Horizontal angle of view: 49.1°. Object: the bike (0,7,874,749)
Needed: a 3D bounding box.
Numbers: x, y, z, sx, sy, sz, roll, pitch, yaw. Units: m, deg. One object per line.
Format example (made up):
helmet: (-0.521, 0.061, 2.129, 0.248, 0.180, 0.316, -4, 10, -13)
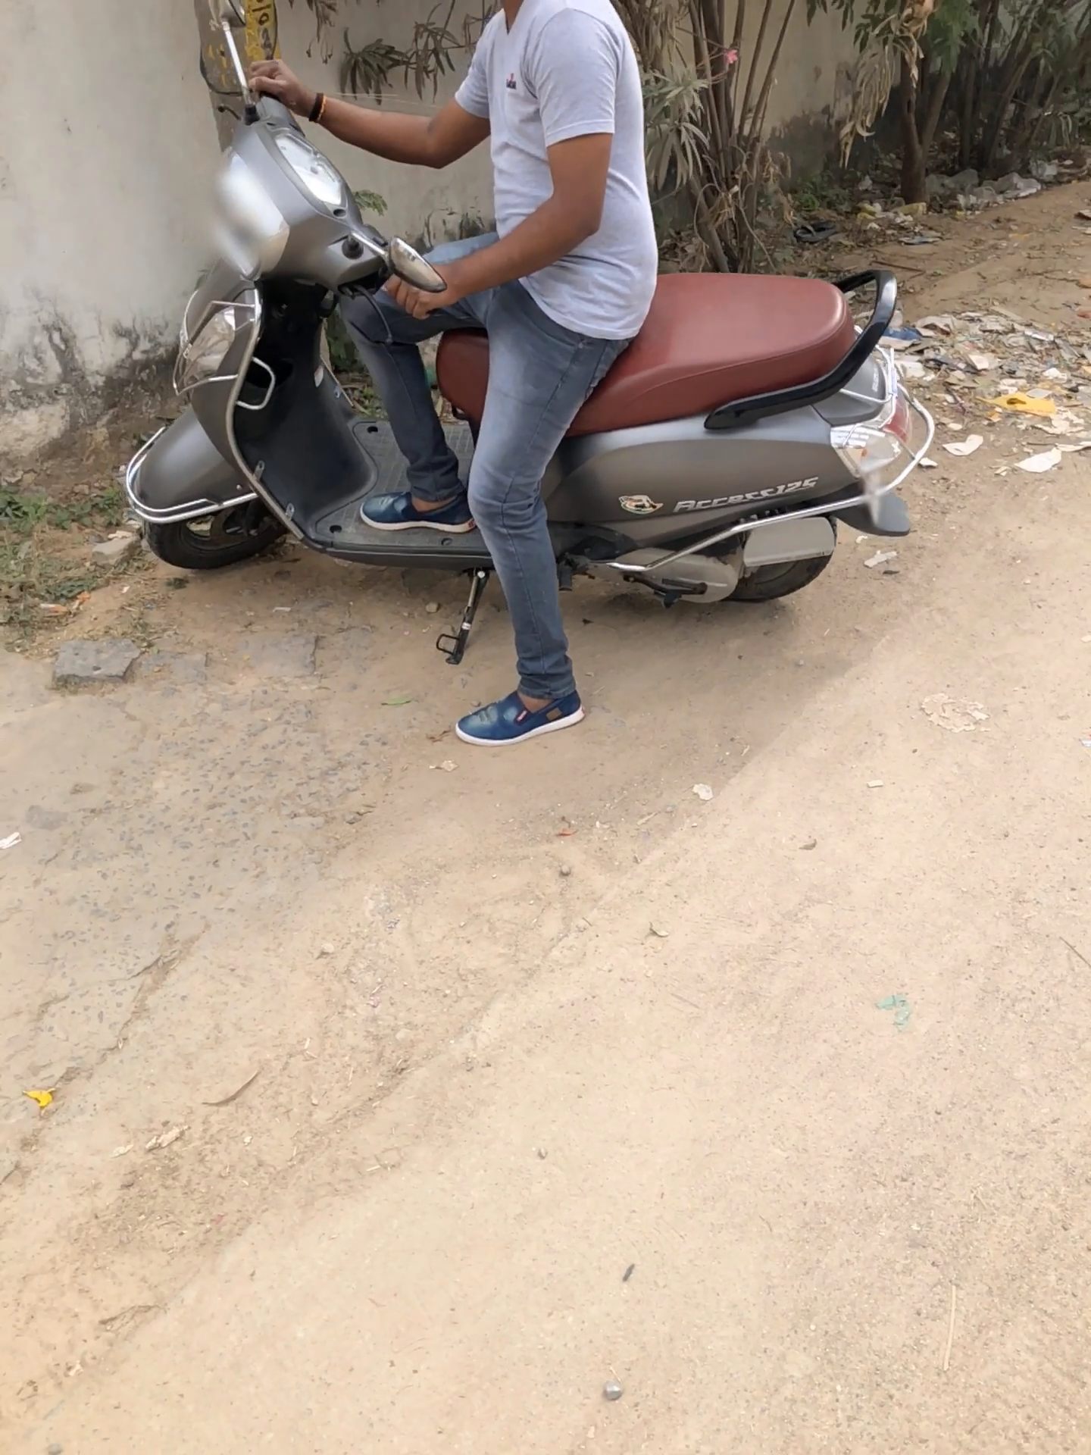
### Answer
bike: (-0.201, -0.651, 2.290, 1.496, 1.196, 0.614, 0, 34, 3)
